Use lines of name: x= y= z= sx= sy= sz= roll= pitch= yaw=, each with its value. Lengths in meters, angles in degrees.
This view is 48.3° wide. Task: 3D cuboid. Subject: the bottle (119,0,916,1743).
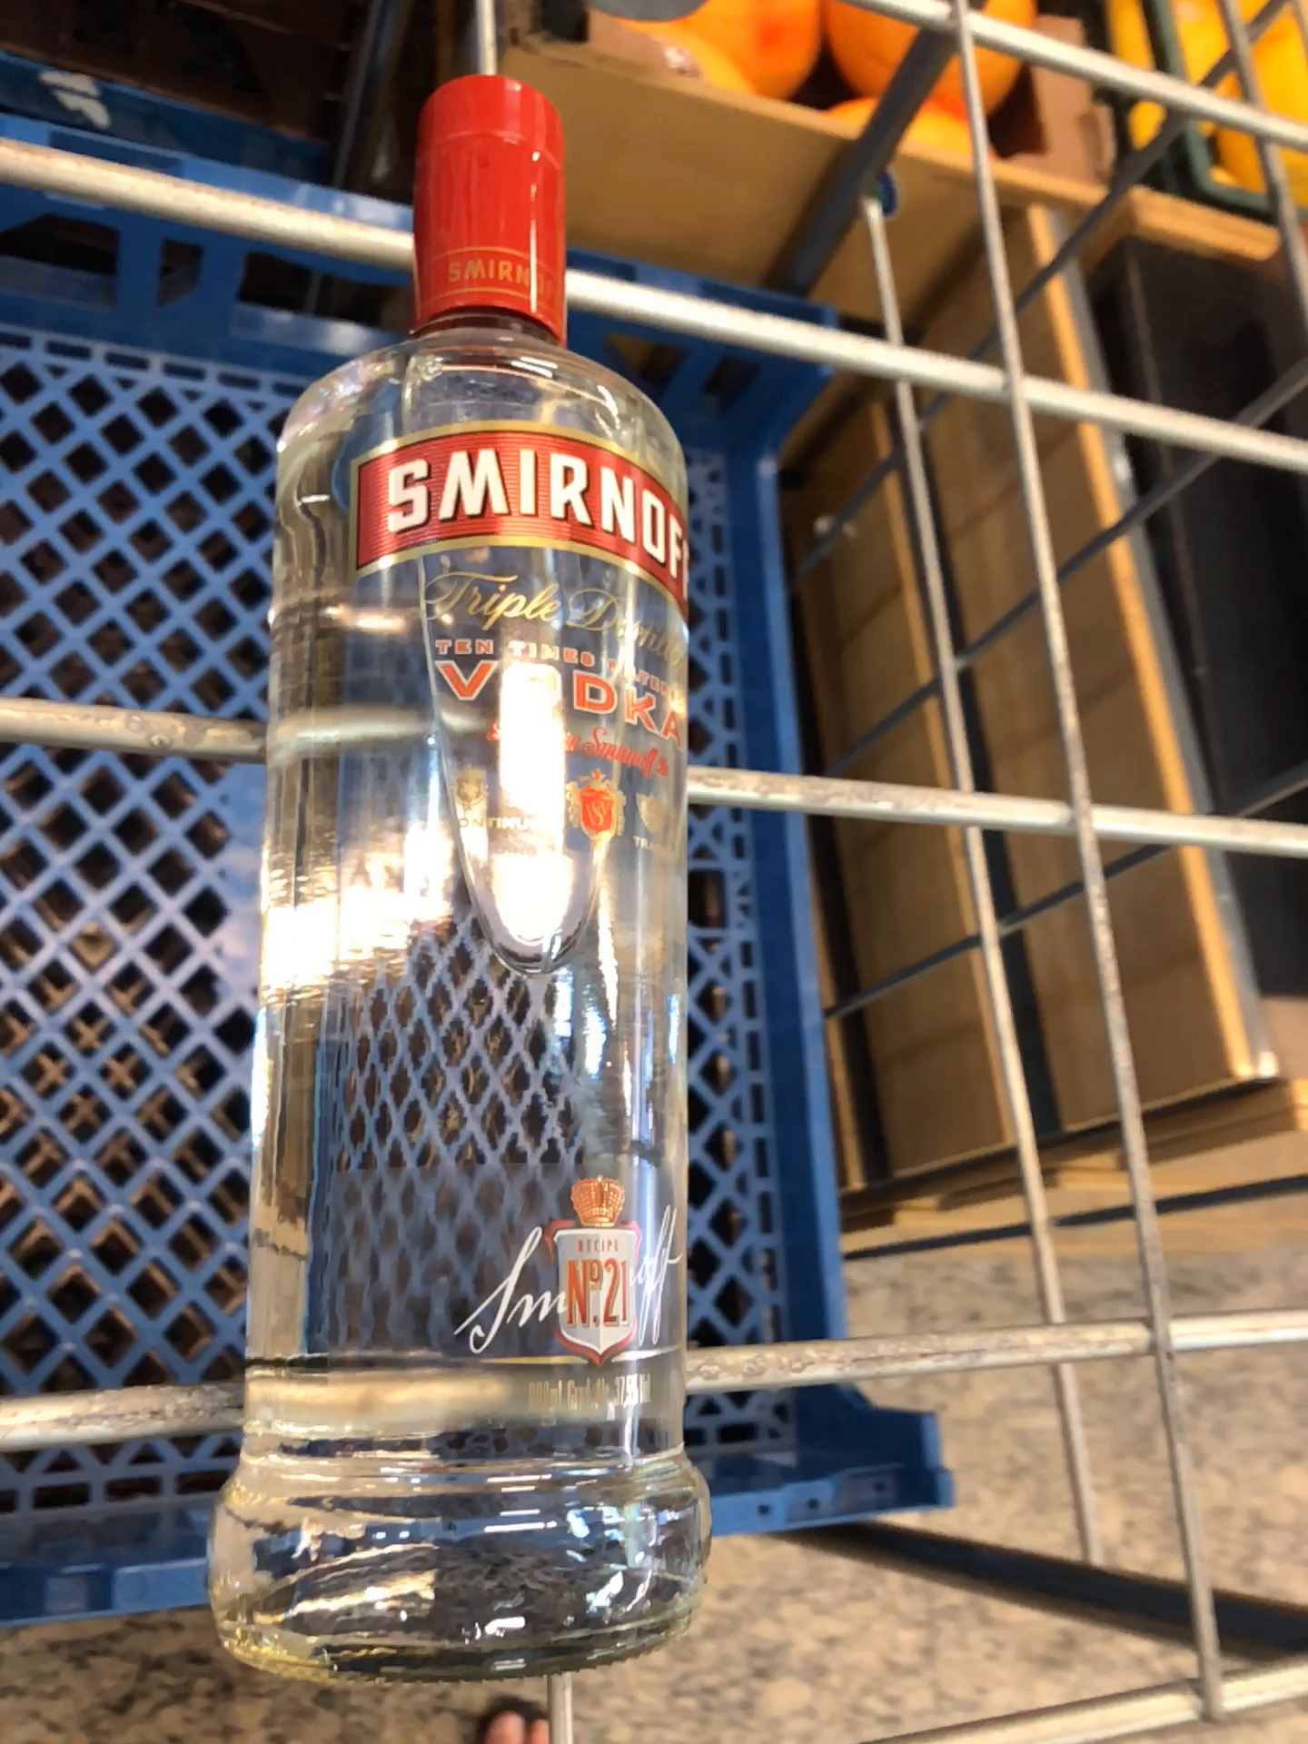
bottle: x=-0.031 y=-0.027 z=0.276 sx=0.100 sy=0.100 sz=0.310 roll=6 pitch=72 yaw=-23
